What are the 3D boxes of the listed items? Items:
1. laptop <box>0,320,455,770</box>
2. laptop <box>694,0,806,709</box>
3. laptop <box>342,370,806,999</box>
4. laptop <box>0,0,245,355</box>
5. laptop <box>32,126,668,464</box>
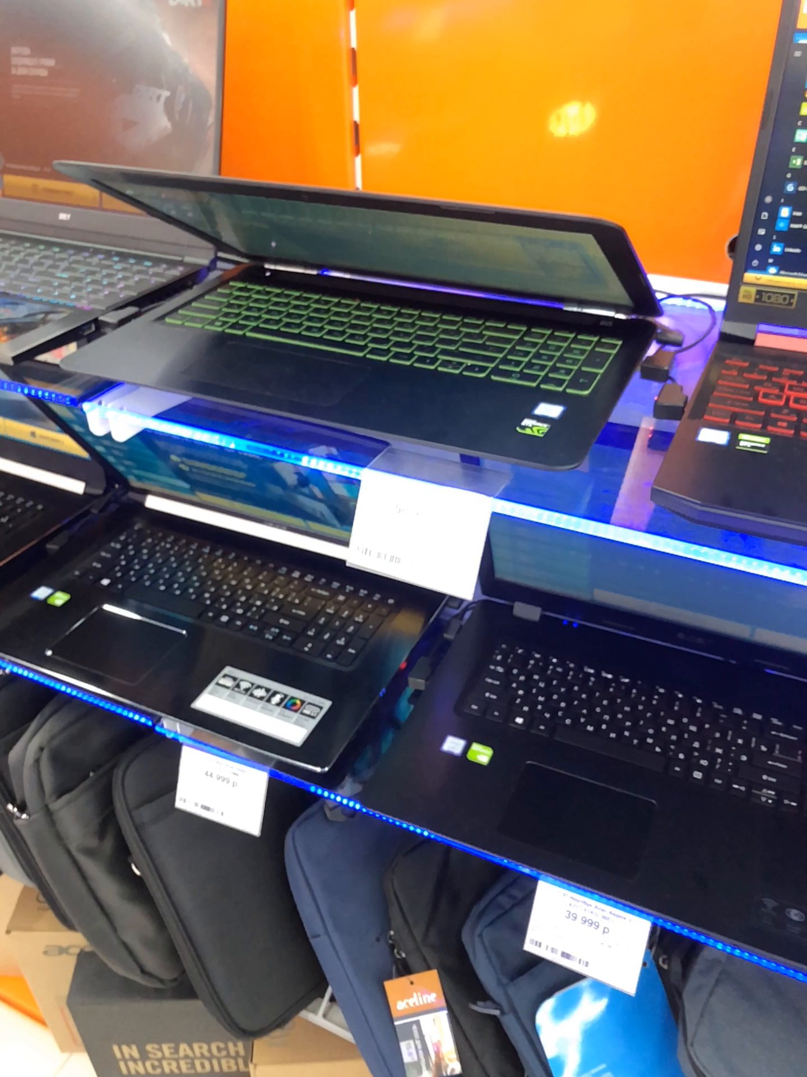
[{"bbox_3d":[-0.196,-0.023,0.823,0.412,0.217,0.263,15,36,22],"label":"laptop"},{"bbox_3d":[0.377,-0.152,0.438,0.409,0.245,0.254,11,36,18],"label":"laptop"},{"bbox_3d":[0.204,0.066,0.647,0.397,0.254,0.276,13,34,22],"label":"laptop"},{"bbox_3d":[-0.377,-0.343,0.762,0.340,0.219,0.304,15,37,21],"label":"laptop"},{"bbox_3d":[-0.029,-0.194,0.626,0.369,0.118,0.228,14,37,21],"label":"laptop"}]
